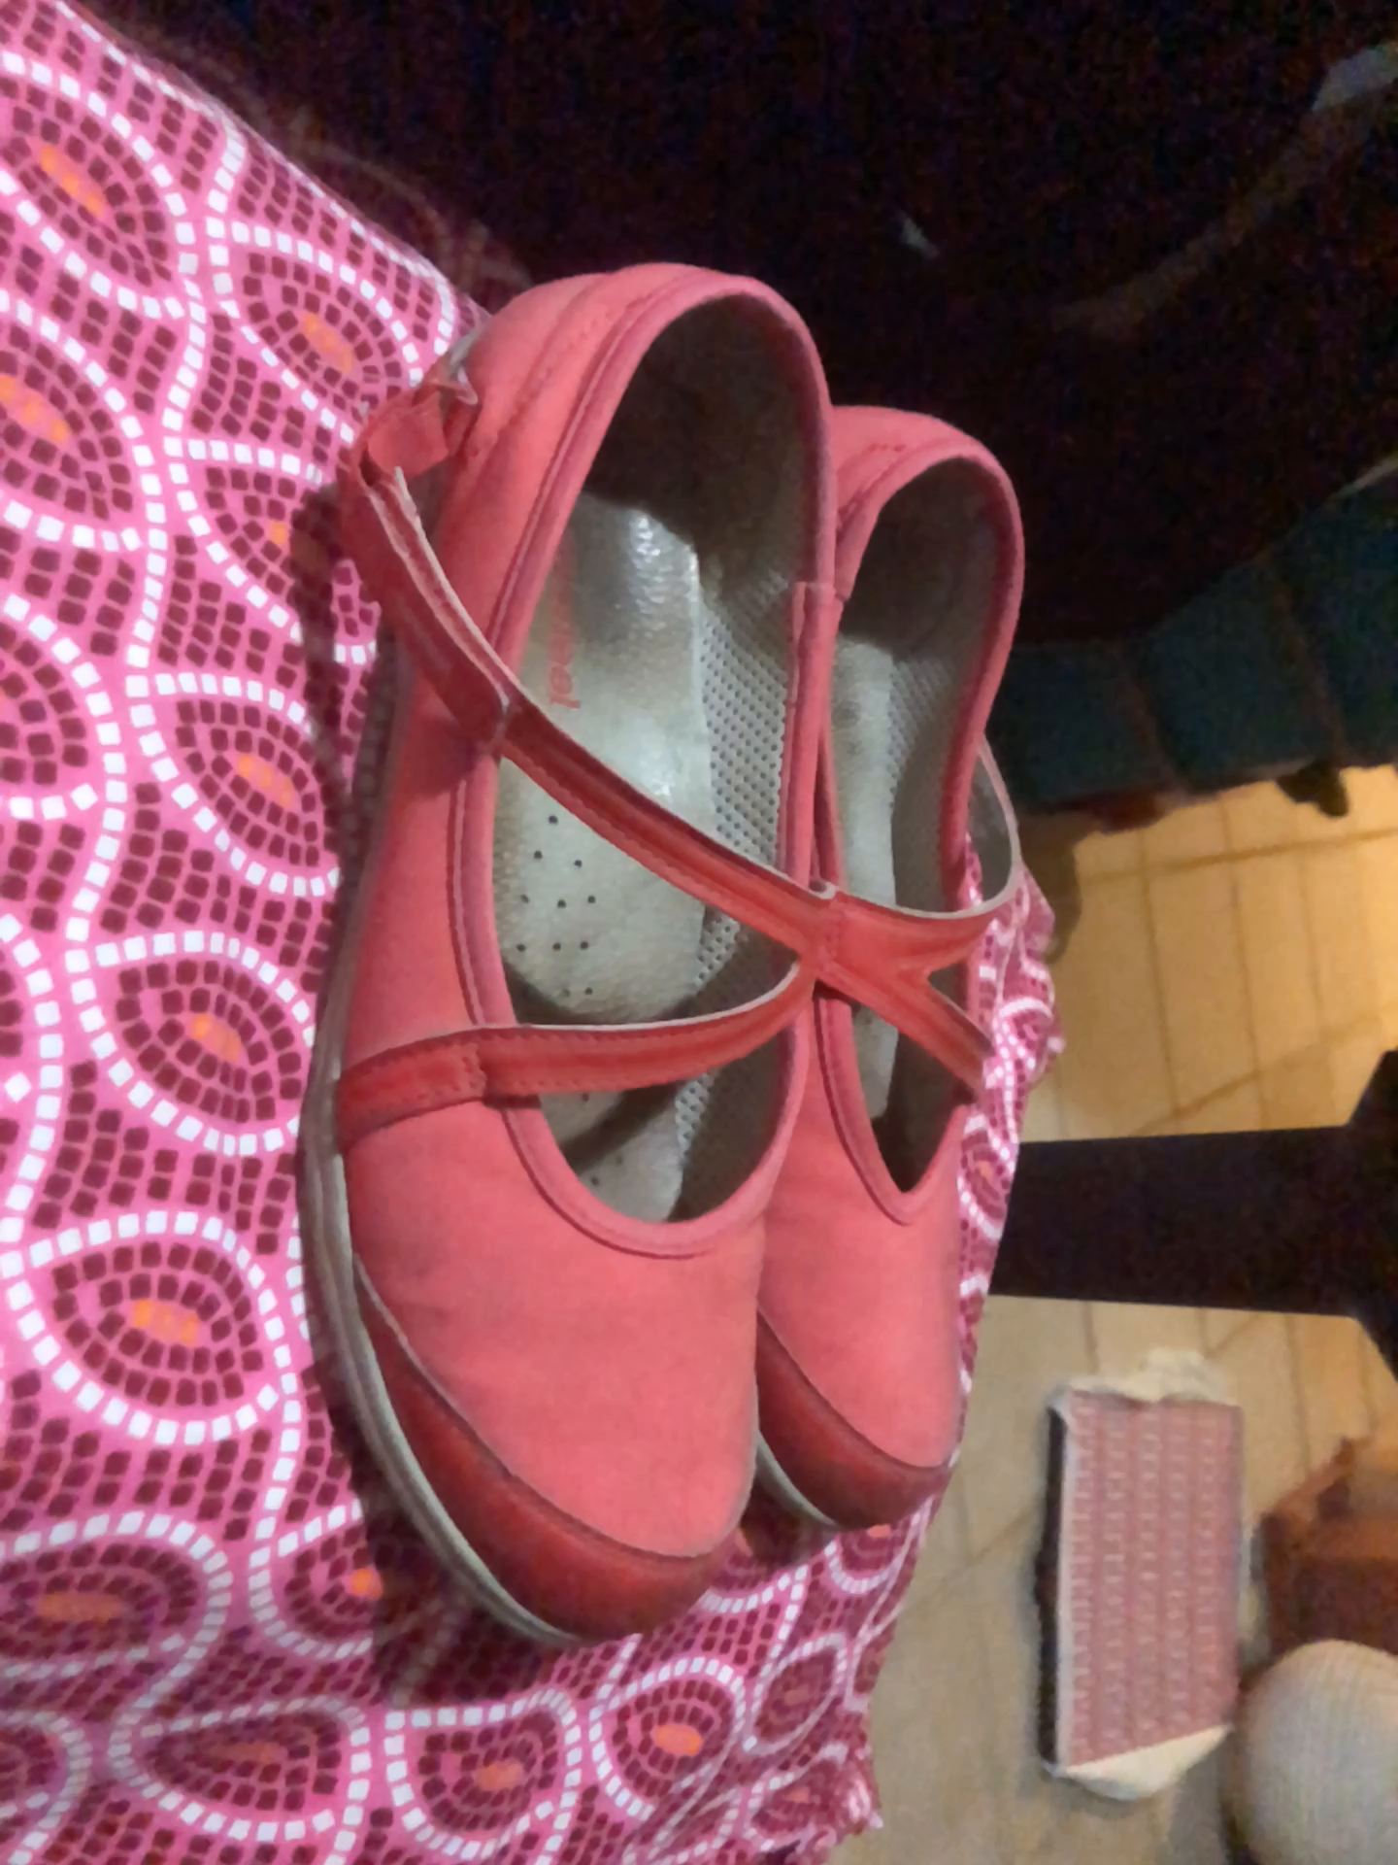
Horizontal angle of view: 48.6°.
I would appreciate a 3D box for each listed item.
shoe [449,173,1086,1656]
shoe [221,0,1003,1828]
[{"bbox_3d":[0.016,-0.003,0.385,0.111,0.099,0.300,5,80,-51],"label":"shoe"},{"bbox_3d":[-0.017,-0.008,0.311,0.111,0.099,0.290,7,79,-51],"label":"shoe"}]
